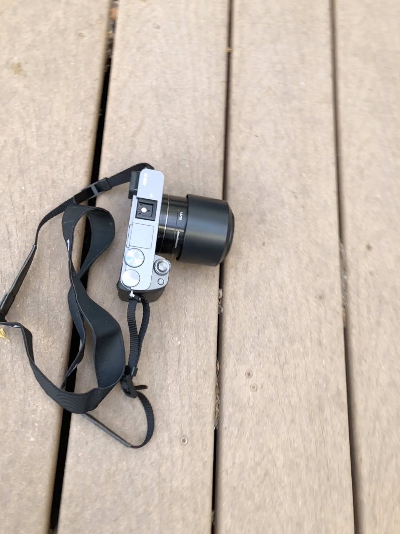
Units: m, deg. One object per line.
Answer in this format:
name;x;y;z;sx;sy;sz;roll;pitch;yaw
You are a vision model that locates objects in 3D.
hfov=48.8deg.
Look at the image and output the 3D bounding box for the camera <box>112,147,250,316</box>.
camera;-0.019;-0.029;0.422;0.110;0.070;0.130;8;73;-9
